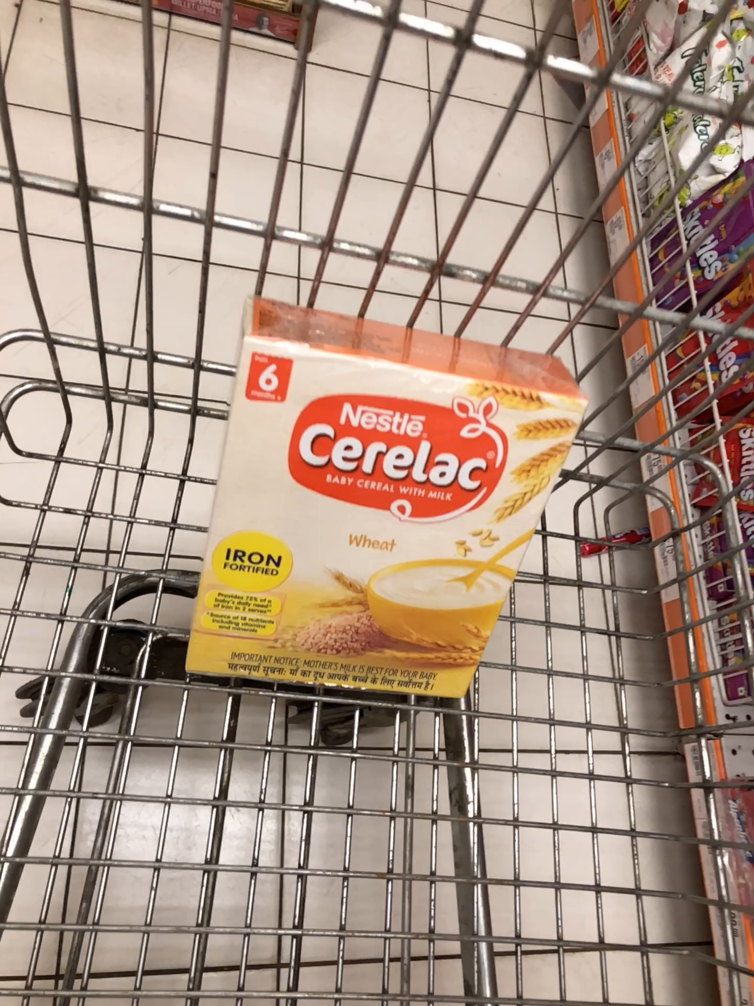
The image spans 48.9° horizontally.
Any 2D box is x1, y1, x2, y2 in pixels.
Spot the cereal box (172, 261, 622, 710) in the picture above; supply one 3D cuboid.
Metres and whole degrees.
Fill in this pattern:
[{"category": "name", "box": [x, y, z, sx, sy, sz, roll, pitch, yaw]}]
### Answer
[{"category": "cereal box", "box": [-0.002, 0.003, 0.371, 0.150, 0.179, 0.050, 9, 30, -13]}]
